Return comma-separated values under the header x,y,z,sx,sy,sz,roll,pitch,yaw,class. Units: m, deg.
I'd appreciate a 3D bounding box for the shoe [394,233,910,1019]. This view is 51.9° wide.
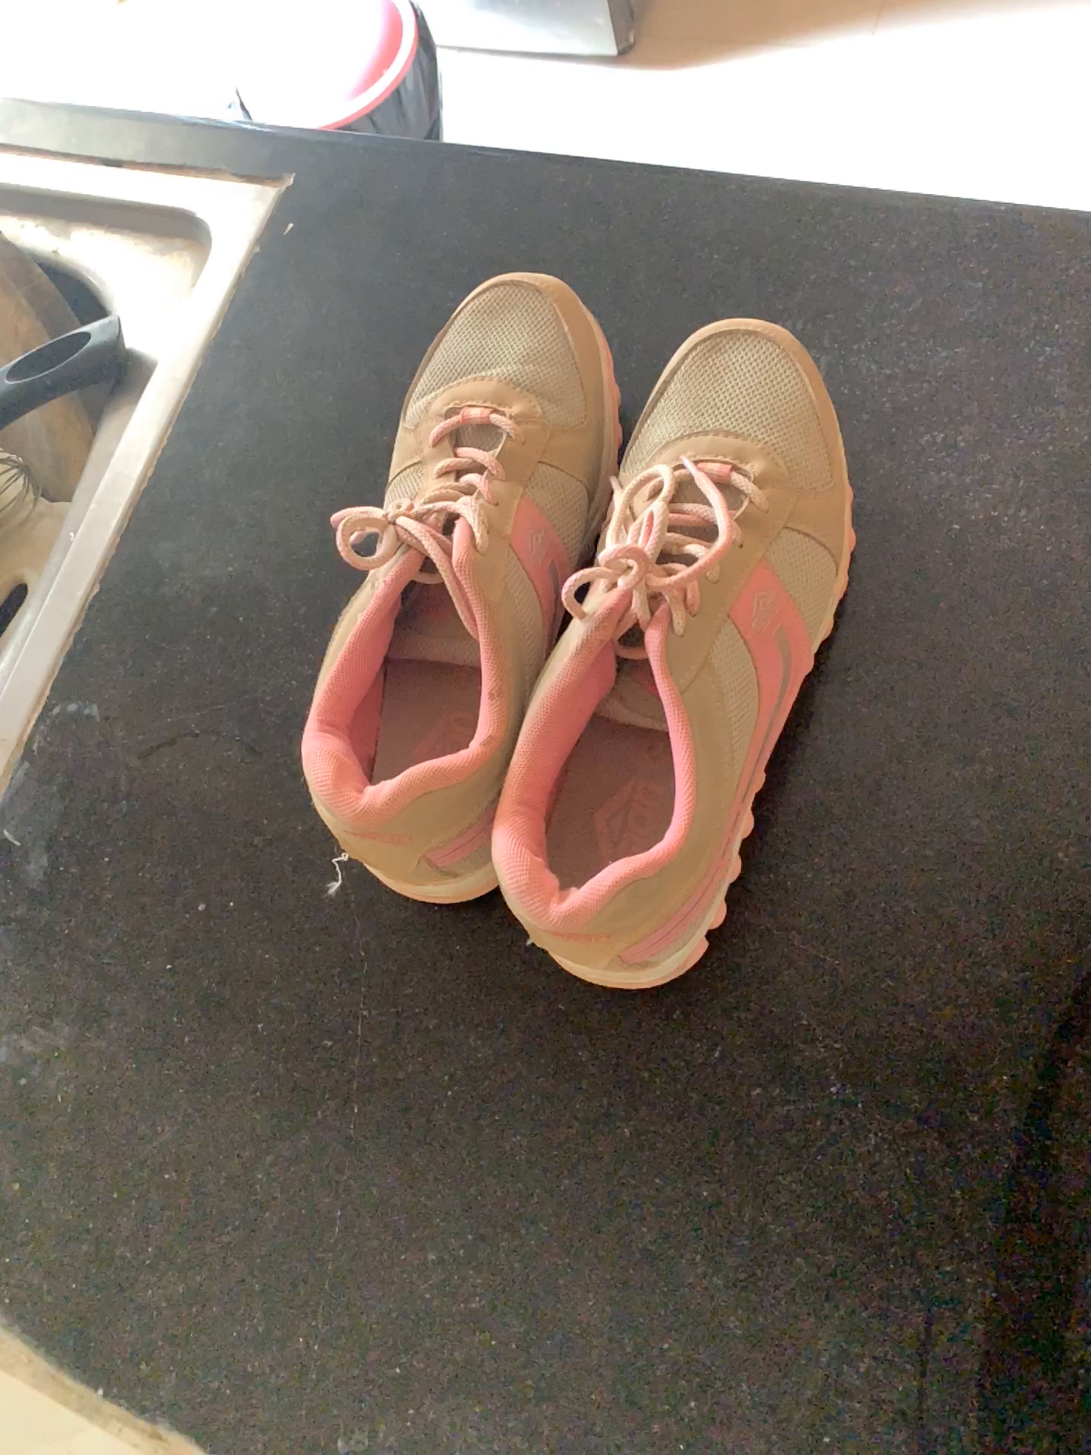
x,y,z,sx,sy,sz,roll,pitch,yaw,class
0.048,-0.035,0.392,0.100,0.100,0.240,13,76,18,shoe

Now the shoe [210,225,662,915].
x,y,z,sx,sy,sz,roll,pitch,yaw,class
-0.029,-0.059,0.422,0.090,0.100,0.230,8,74,17,shoe
